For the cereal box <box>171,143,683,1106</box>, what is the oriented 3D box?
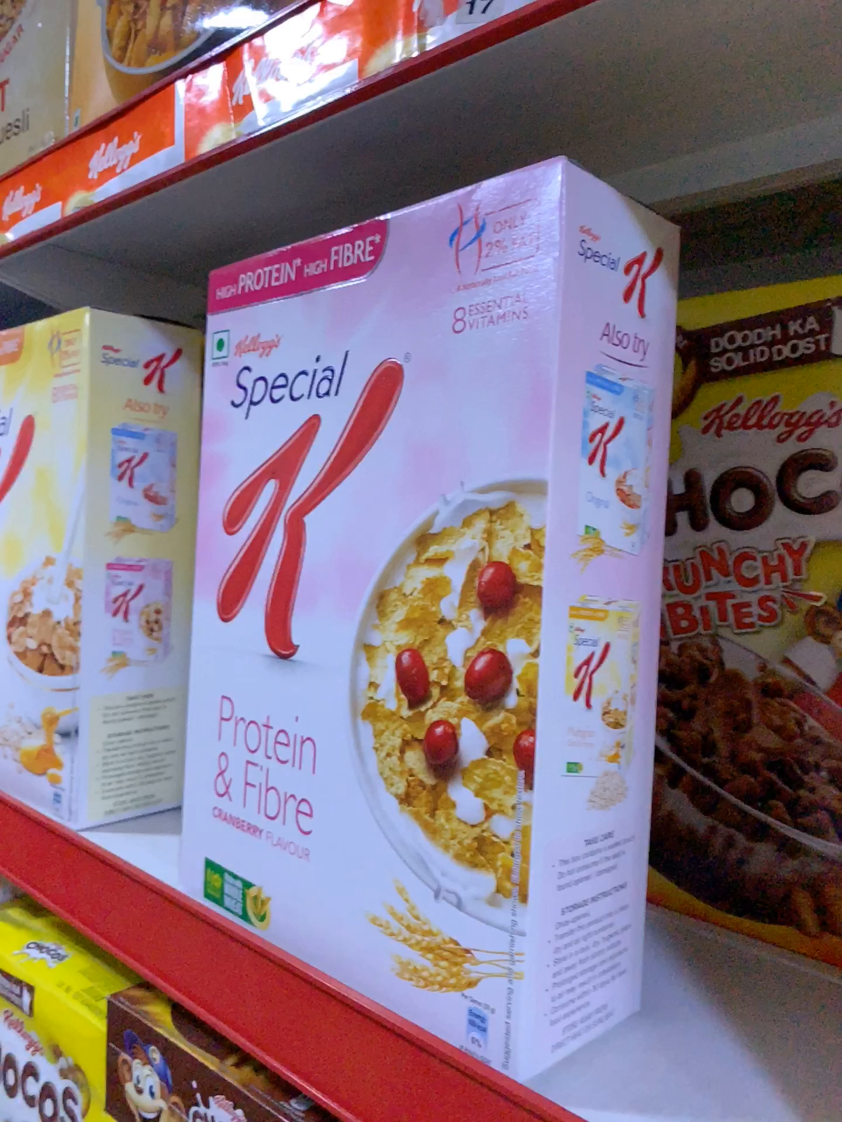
[{"bbox_3d":[-0.009,0.012,0.299,0.170,0.240,0.060,3,1,44],"label":"cereal box"}]
